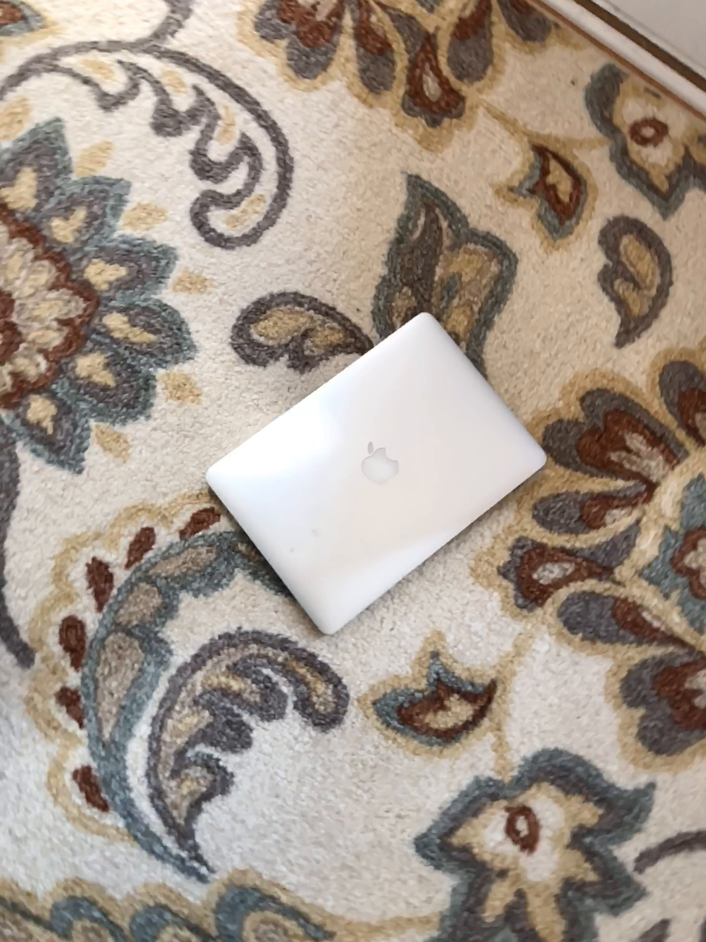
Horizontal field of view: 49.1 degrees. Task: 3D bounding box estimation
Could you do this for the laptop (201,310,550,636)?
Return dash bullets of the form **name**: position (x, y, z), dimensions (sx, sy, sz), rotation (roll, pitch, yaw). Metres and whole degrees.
- **laptop**: position (0.026, -0.004, 0.799), dimensions (0.295, 0.001, 0.207), rotation (-37, 85, -8)
